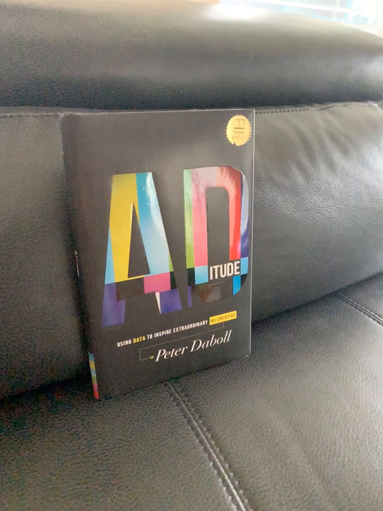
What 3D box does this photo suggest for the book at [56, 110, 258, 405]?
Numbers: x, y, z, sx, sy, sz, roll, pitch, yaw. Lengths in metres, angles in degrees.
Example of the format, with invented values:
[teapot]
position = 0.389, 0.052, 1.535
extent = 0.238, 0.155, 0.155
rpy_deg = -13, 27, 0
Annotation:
[book]
position = -0.017, 0.000, 0.346
extent = 0.161, 0.235, 0.025
rpy_deg = -10, 19, -23
